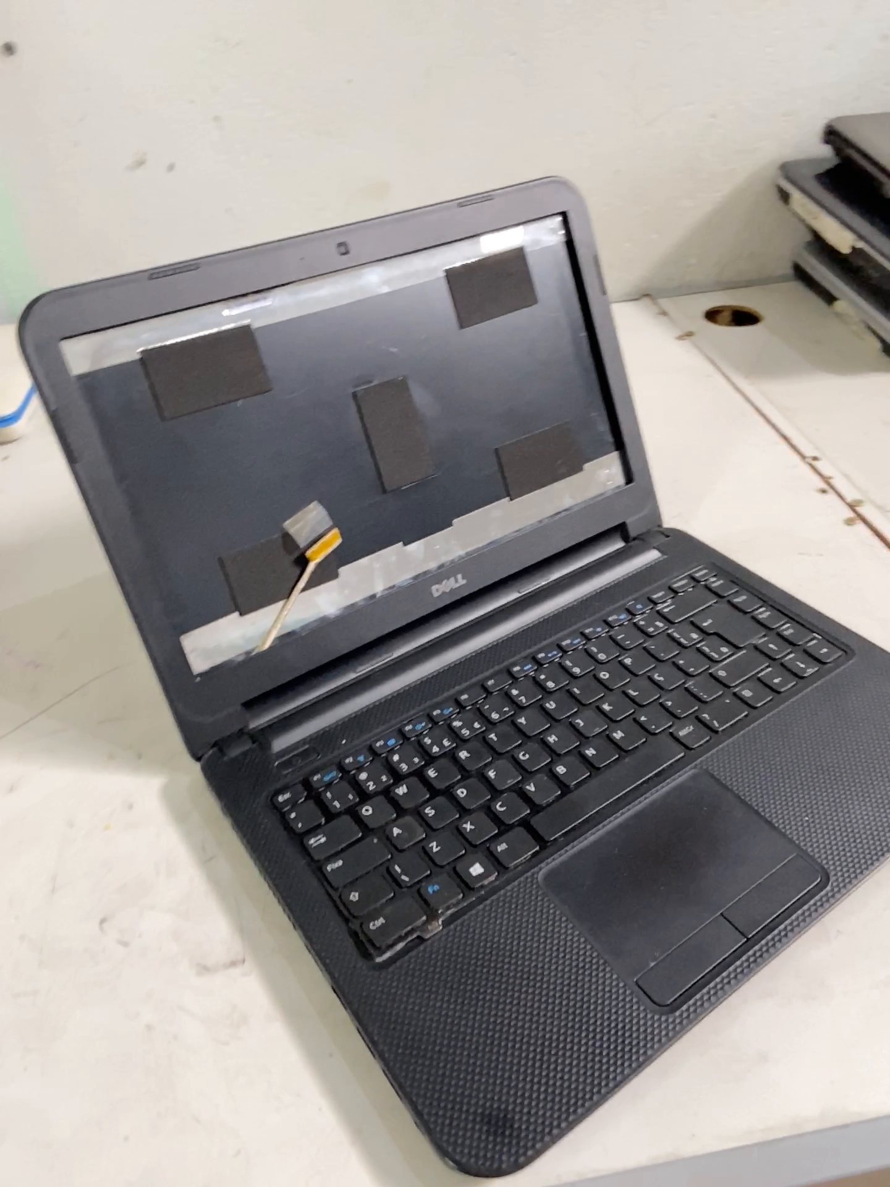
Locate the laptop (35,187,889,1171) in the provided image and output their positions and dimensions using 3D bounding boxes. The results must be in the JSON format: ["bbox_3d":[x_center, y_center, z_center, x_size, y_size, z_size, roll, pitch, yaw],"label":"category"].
[{"bbox_3d":[0.046,-0.025,0.426,0.320,0.193,0.336,-25,43,-25],"label":"laptop"}]
